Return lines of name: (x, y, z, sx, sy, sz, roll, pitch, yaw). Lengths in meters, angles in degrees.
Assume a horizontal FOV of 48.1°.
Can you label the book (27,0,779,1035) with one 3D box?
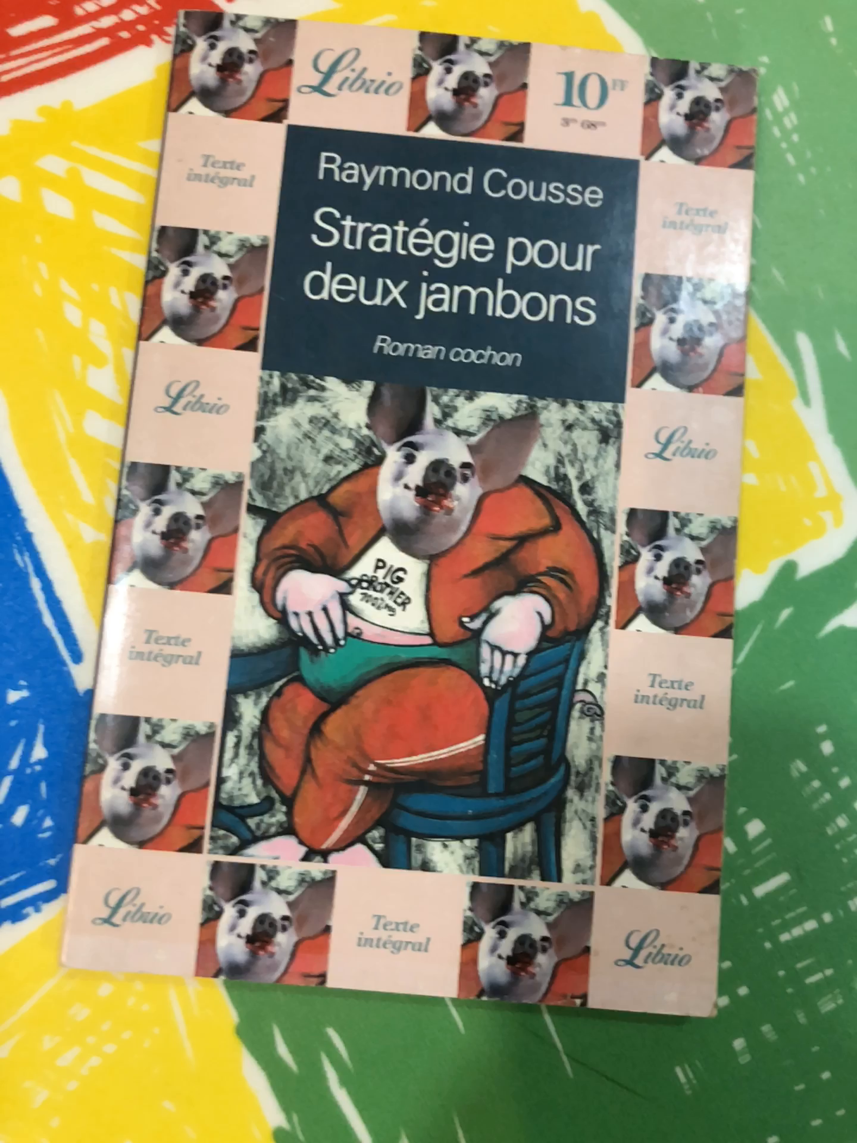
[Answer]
book: (0.000, -0.017, 0.193, 0.130, 0.014, 0.197, 5, 83, -1)
